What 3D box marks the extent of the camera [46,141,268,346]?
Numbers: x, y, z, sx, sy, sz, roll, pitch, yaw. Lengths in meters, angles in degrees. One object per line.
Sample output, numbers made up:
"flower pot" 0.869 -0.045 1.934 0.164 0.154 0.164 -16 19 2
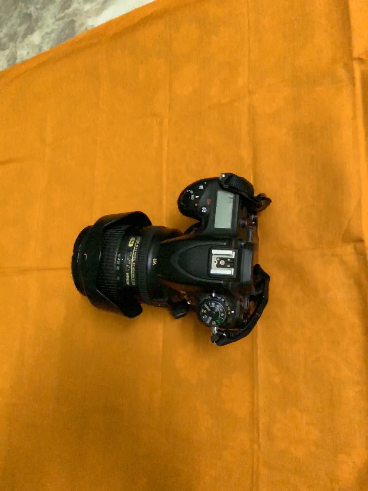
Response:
"camera" -0.020 0.007 0.363 0.171 0.110 0.151 -2 79 29
